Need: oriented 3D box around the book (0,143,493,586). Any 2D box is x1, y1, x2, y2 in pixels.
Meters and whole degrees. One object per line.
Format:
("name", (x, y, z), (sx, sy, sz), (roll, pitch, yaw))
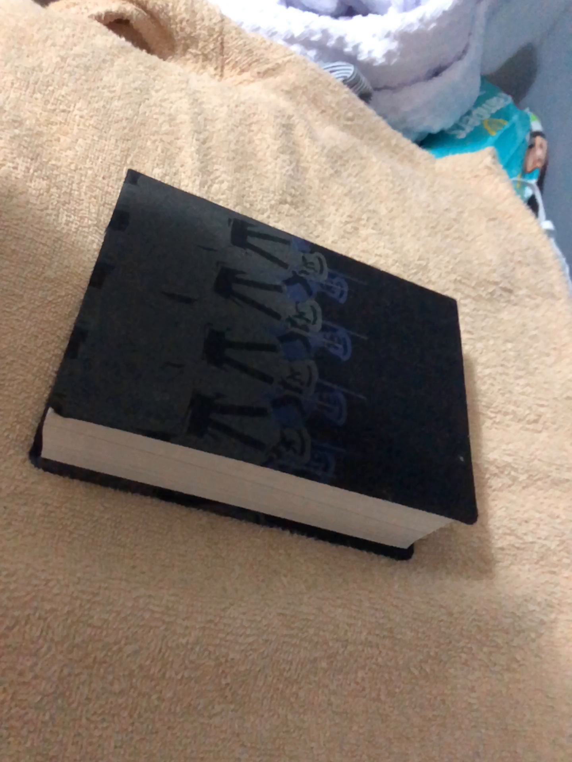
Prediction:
("book", (-0.009, -0.004, 0.281), (0.190, 0.050, 0.141), (18, 53, -18))
